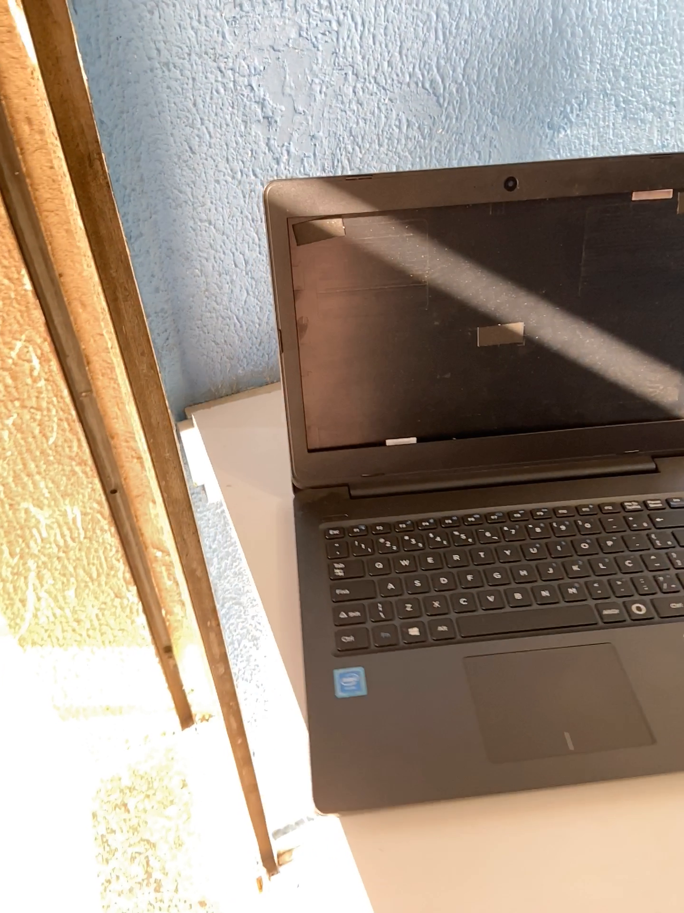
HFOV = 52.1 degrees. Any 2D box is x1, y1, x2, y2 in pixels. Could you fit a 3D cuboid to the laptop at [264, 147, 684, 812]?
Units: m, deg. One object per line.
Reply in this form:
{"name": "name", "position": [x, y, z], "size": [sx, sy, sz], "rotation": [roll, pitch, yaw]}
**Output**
{"name": "laptop", "position": [0.134, -0.013, 0.429], "size": [0.337, 0.214, 0.311], "rotation": [-5, 42, -3]}
